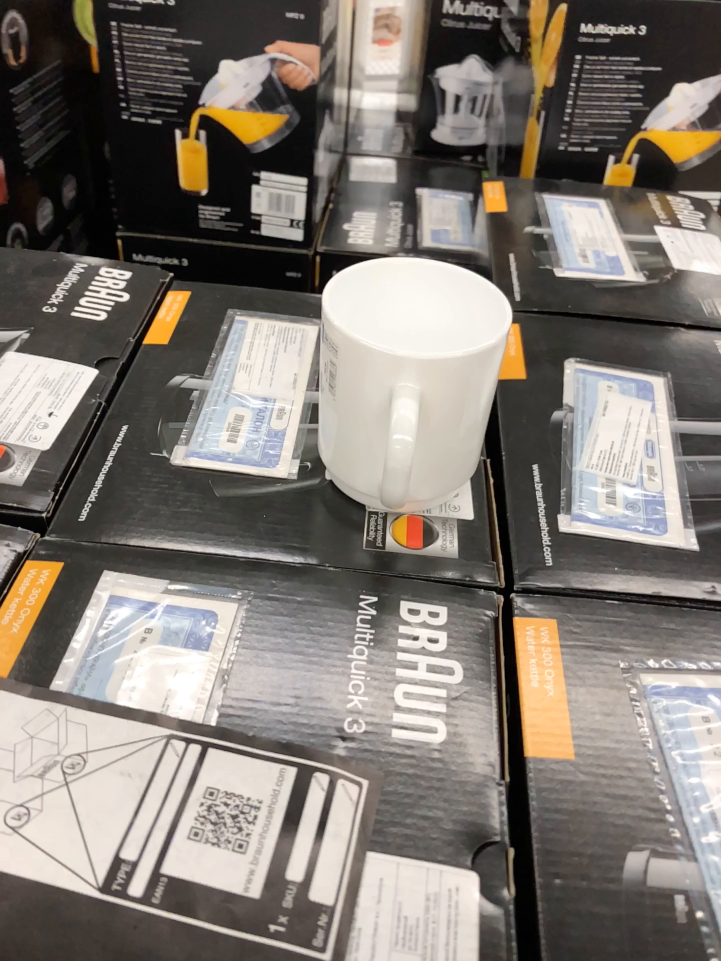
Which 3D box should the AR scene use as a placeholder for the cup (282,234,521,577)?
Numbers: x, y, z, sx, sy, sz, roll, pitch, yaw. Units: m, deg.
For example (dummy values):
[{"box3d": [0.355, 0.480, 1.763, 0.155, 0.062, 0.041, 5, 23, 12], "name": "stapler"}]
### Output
[{"box3d": [0.021, -0.035, 0.348, 0.082, 0.091, 0.111, 7, 44, 6], "name": "cup"}]
